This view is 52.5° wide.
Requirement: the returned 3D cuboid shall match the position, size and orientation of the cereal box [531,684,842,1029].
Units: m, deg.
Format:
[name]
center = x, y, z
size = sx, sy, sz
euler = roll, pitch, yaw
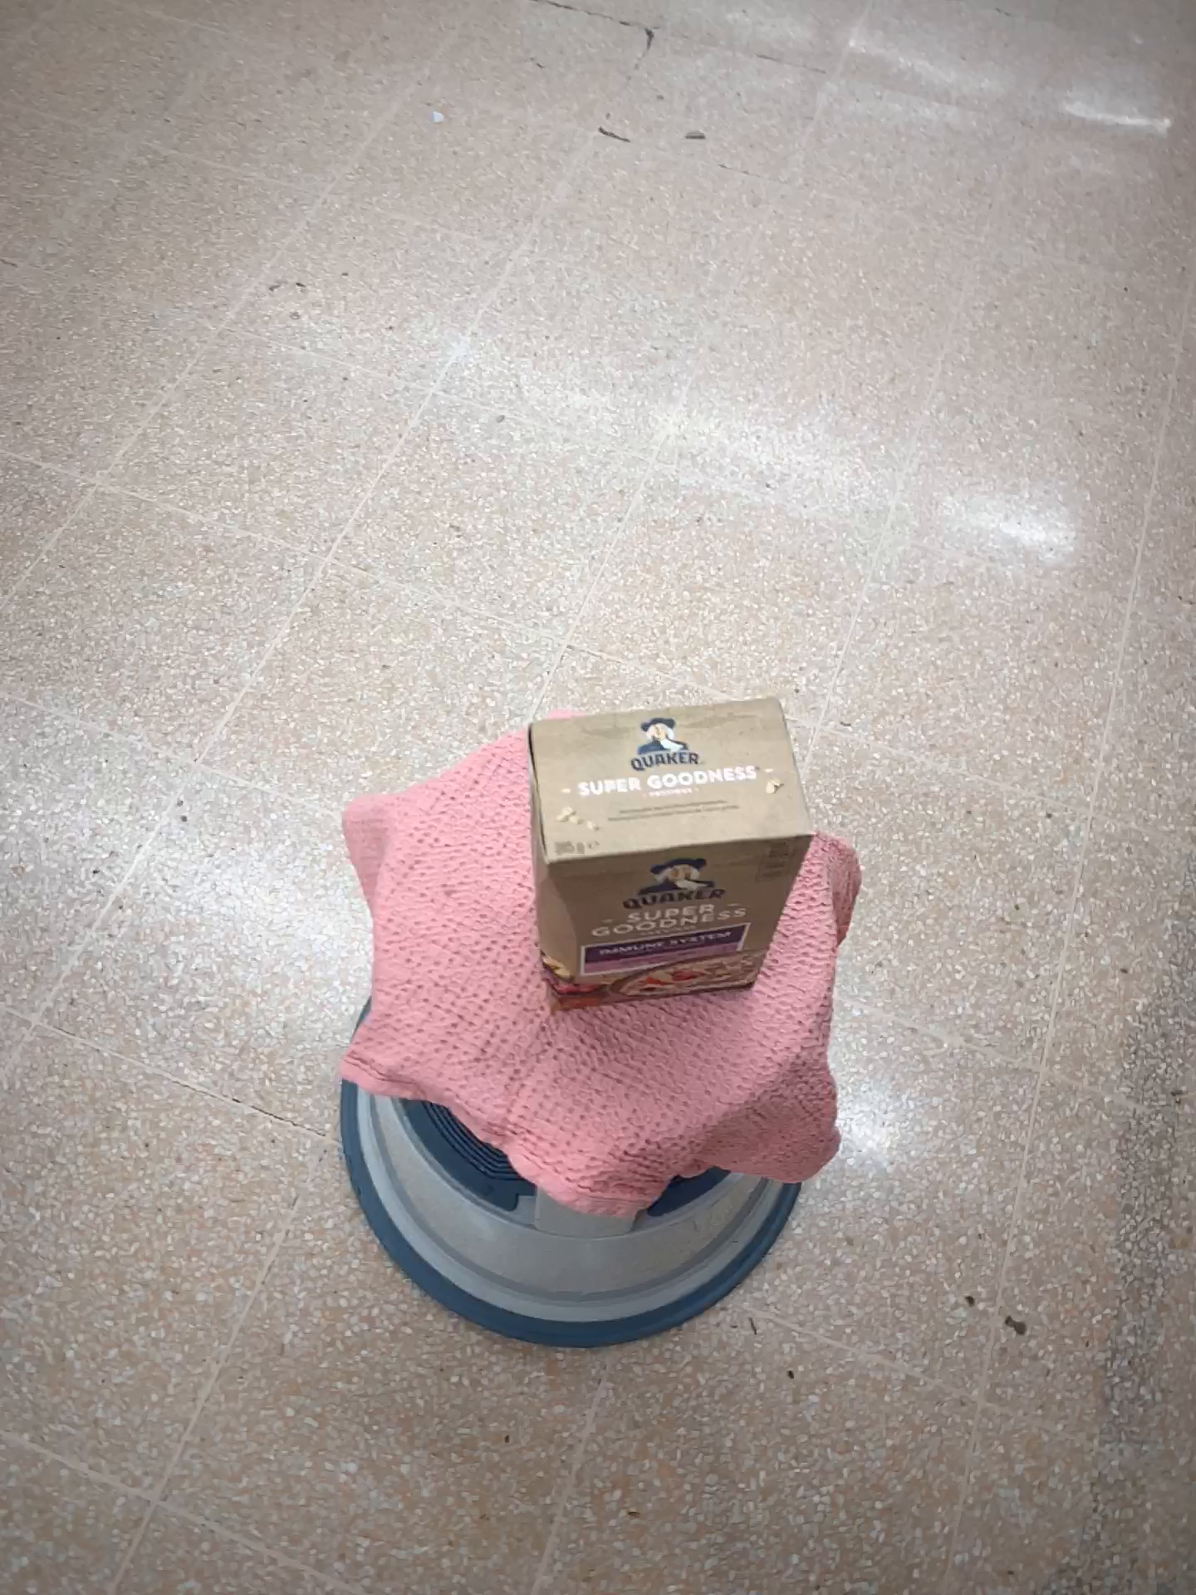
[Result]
[cereal box]
center = 0.035, 0.041, 0.655
size = 0.130, 0.209, 0.090
euler = -7, 63, -6
